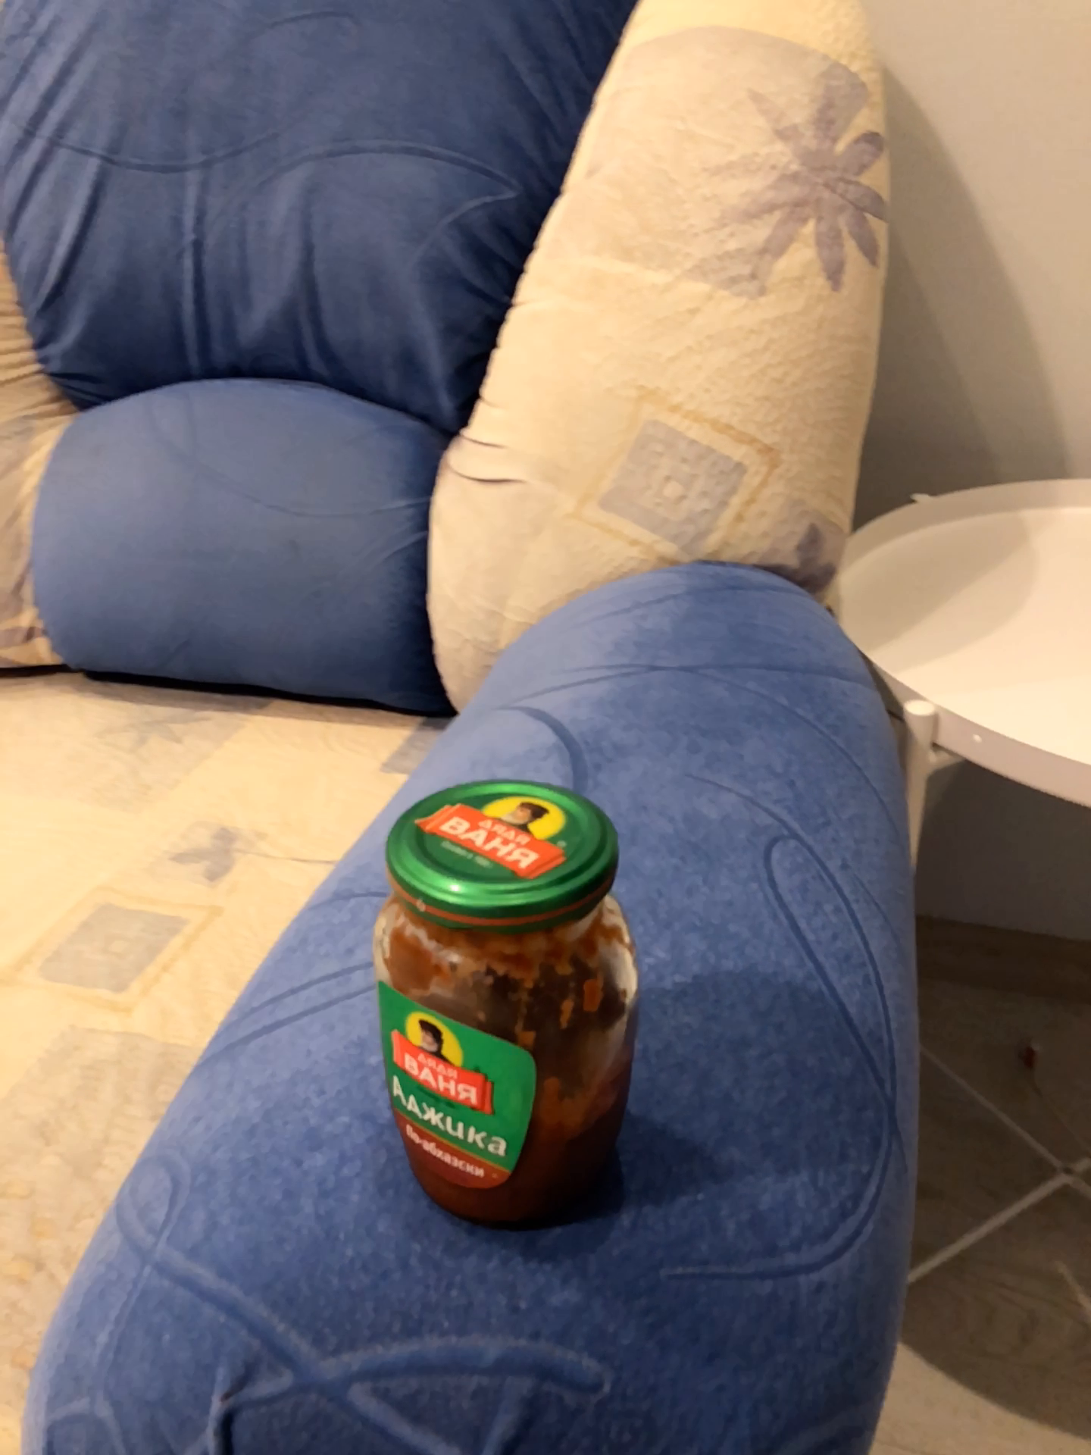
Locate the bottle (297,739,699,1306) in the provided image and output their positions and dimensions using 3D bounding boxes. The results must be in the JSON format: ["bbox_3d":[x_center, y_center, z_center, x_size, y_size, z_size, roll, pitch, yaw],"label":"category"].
[{"bbox_3d":[-0.010,0.063,0.273,0.060,0.092,0.060,0,26,0],"label":"bottle"}]
